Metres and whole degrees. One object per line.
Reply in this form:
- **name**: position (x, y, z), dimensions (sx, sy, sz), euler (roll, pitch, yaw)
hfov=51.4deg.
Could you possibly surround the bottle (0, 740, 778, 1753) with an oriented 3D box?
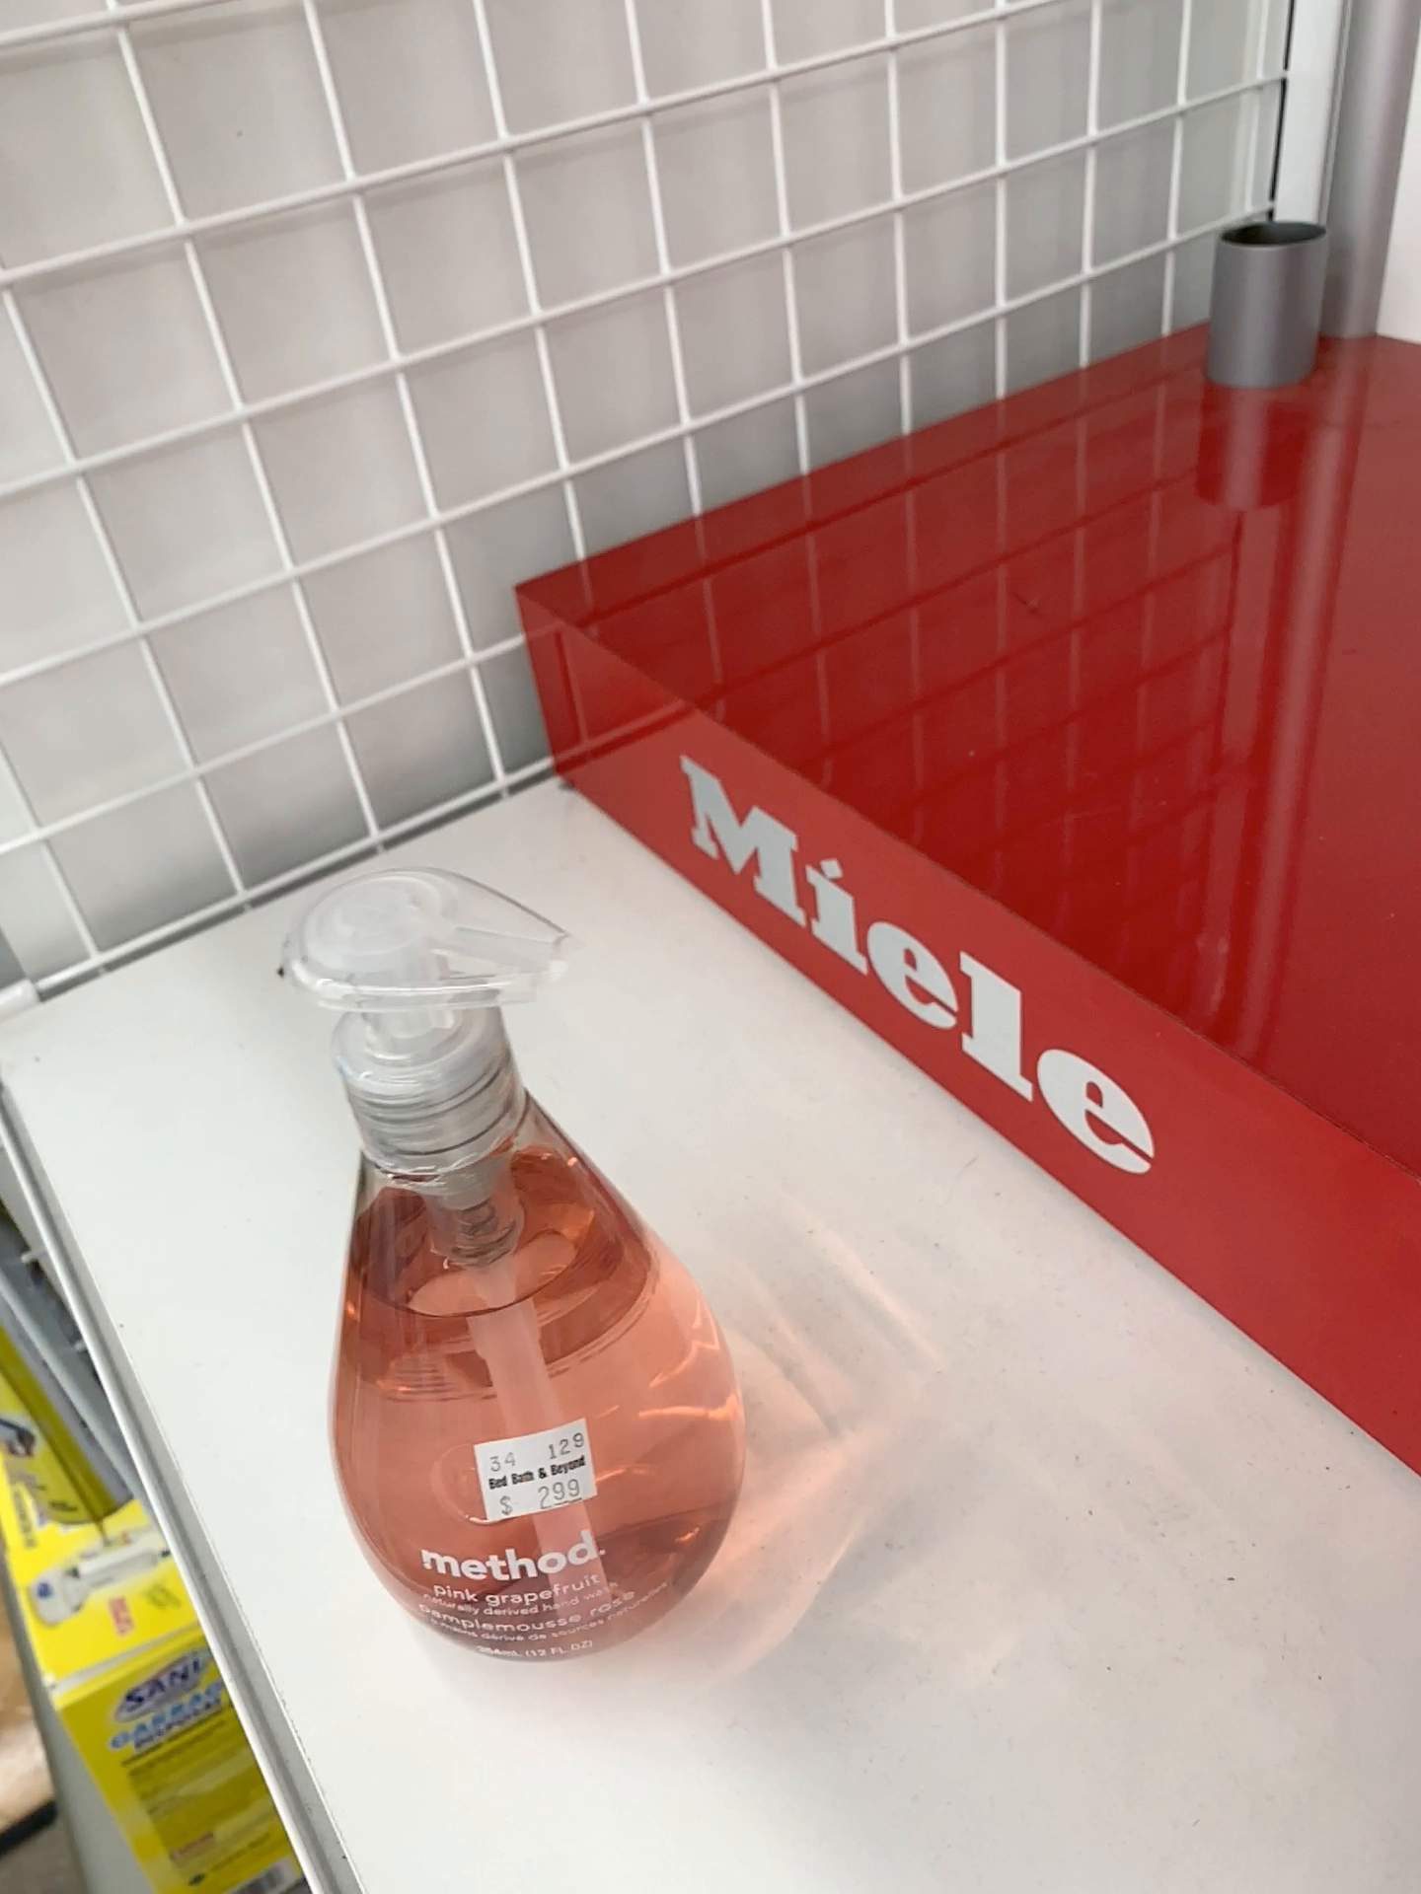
- **bottle**: position (-0.037, 0.058, 0.250), dimensions (0.080, 0.160, 0.078), euler (-5, 38, 4)
